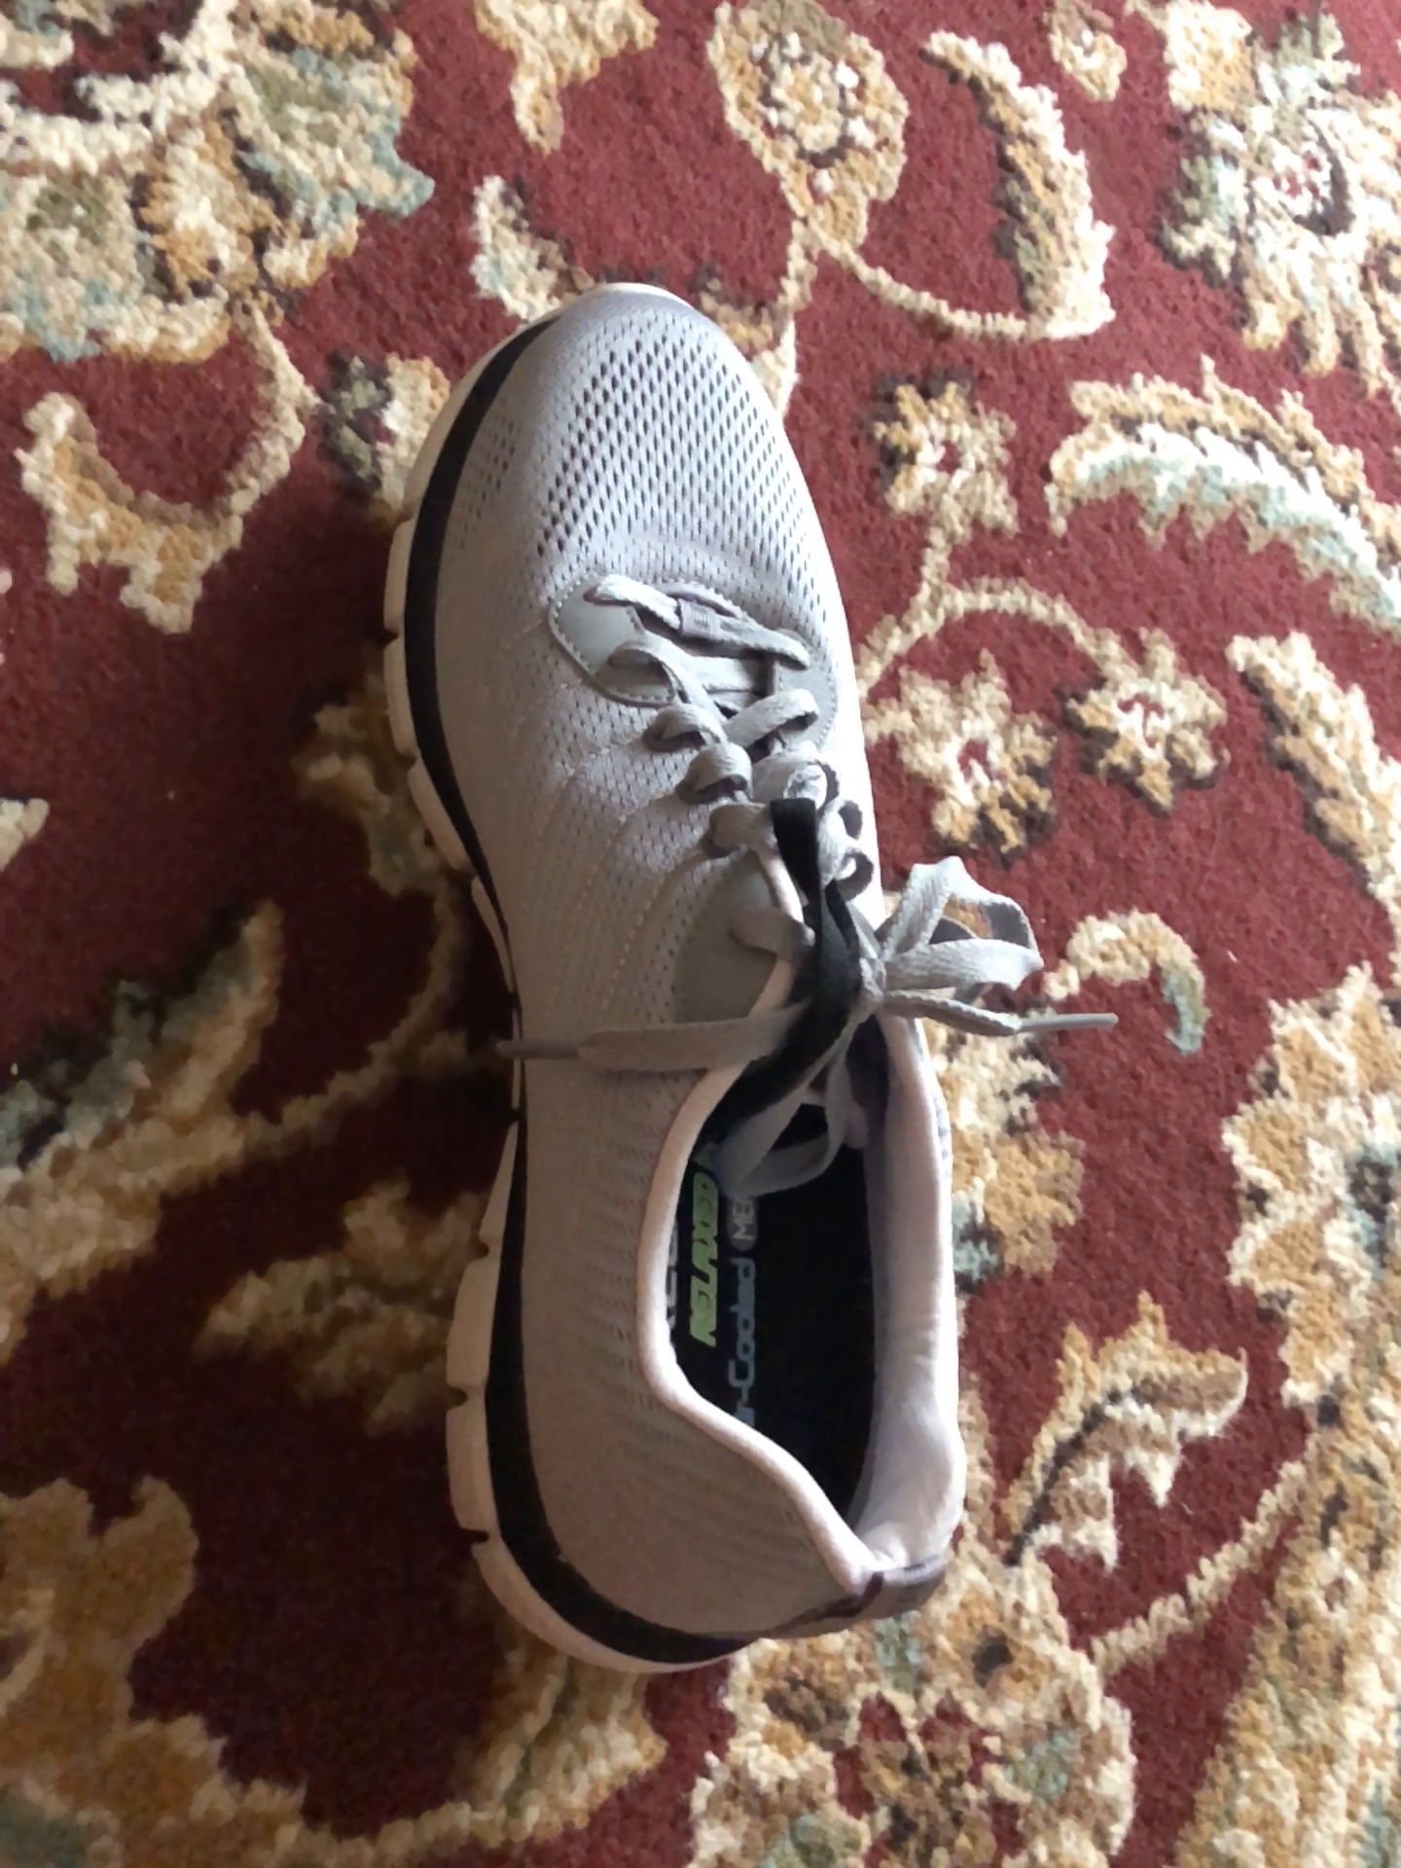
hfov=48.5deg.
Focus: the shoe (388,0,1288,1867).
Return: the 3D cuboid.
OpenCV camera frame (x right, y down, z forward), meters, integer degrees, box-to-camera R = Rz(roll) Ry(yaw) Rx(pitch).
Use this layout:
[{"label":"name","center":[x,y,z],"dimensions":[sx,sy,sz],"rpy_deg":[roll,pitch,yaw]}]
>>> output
[{"label":"shoe","center":[0.007,-0.010,0.303],"dimensions":[0.100,0.130,0.300],"rpy_deg":[5,72,-25]}]
